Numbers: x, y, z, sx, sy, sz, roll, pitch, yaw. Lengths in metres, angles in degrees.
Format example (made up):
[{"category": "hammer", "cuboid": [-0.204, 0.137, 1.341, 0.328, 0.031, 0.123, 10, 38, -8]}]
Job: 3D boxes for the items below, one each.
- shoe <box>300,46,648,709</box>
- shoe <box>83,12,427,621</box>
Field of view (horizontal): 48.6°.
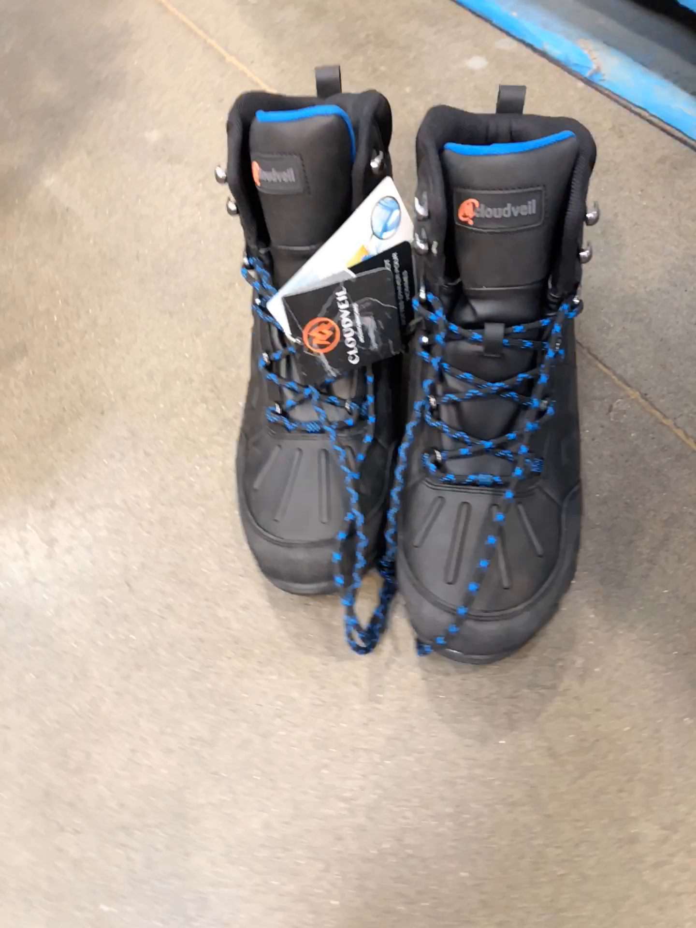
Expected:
[{"category": "shoe", "cuboid": [0.084, -0.044, 0.440, 0.120, 0.210, 0.300, 6, 63, 13]}, {"category": "shoe", "cuboid": [-0.024, -0.083, 0.481, 0.120, 0.210, 0.300, 1, 62, 10]}]
